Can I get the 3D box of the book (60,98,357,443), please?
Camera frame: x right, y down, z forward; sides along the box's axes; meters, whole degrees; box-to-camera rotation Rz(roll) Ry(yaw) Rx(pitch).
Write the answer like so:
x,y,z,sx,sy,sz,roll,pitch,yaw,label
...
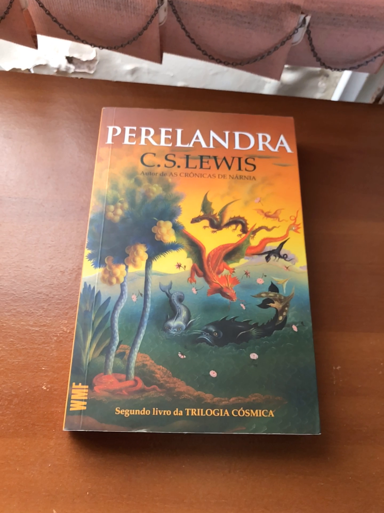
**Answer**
x,y,z,sx,sy,sz,roll,pitch,yaw,label
0.009,-0.001,0.240,0.130,0.030,0.191,2,66,-3,book
